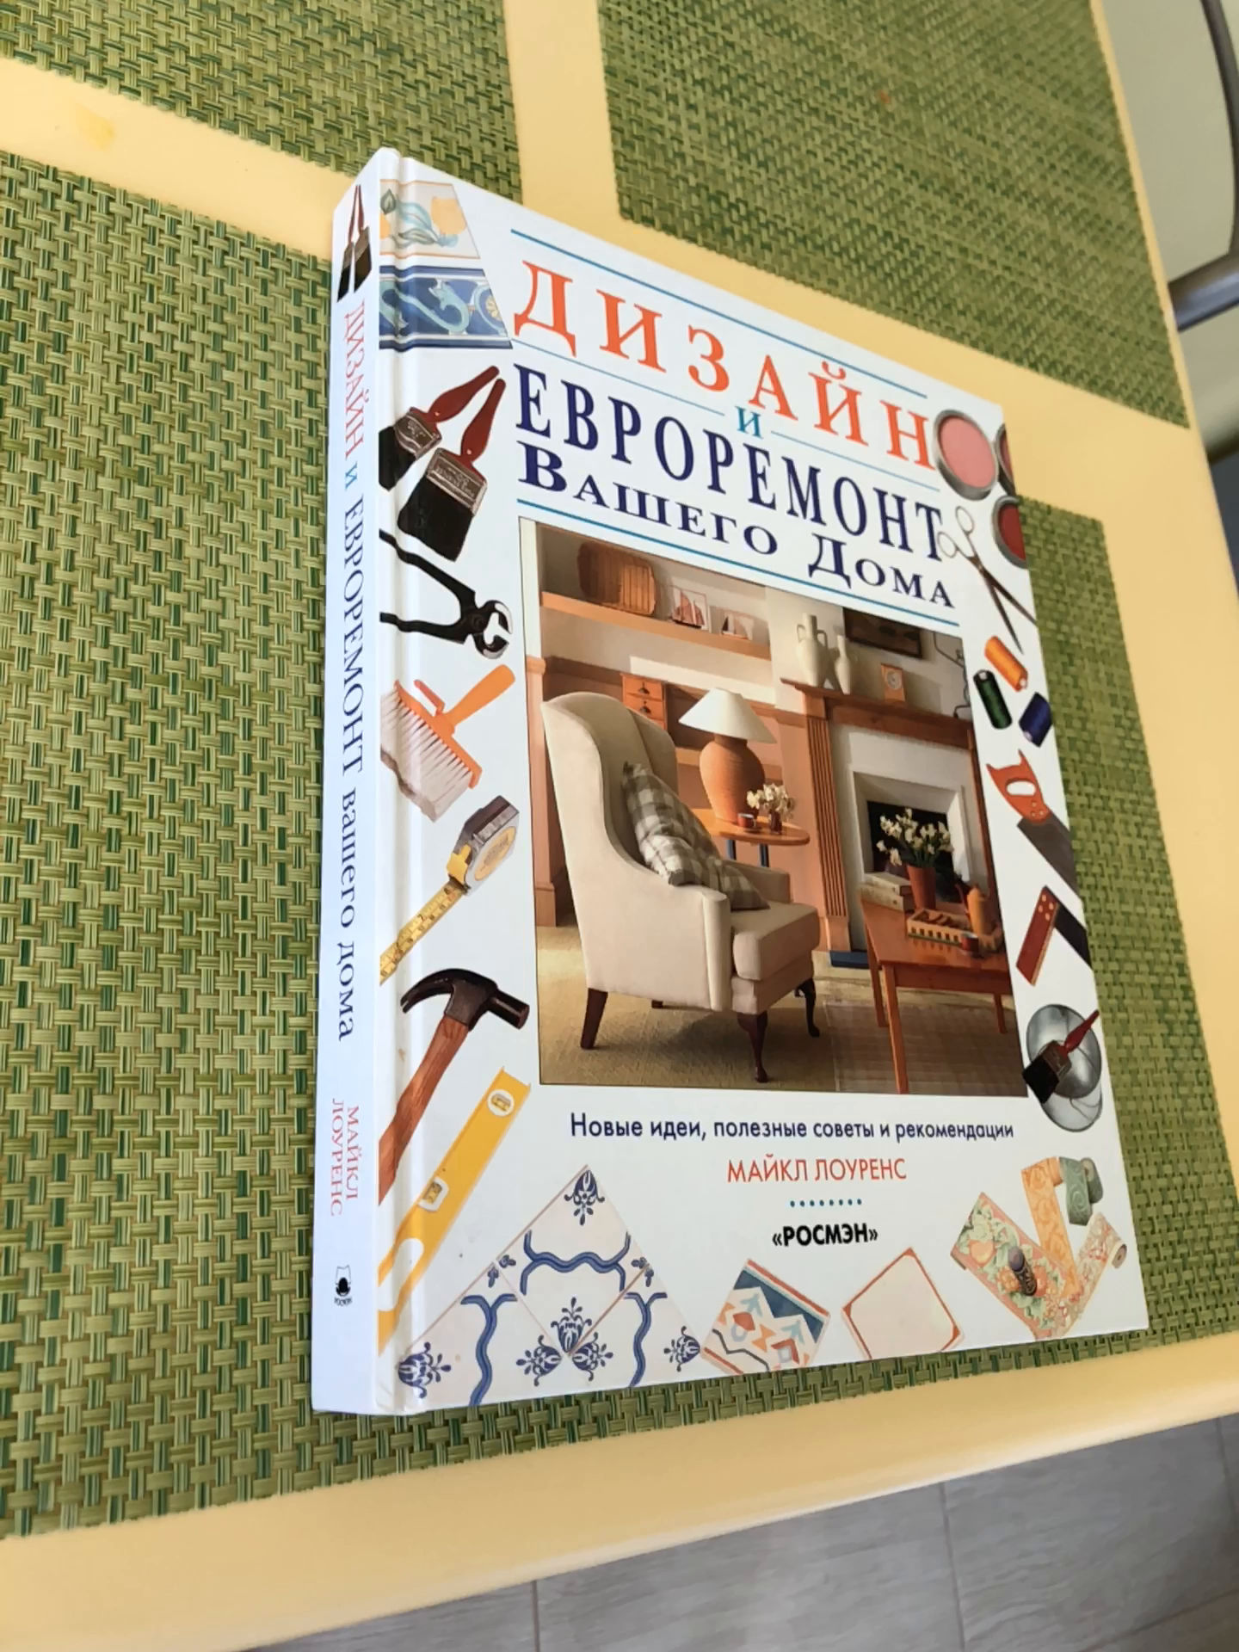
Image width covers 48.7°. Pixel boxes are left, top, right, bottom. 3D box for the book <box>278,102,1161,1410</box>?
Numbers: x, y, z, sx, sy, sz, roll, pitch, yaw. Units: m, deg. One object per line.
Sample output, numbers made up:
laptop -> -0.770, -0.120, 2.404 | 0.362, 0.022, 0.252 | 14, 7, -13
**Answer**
book -> 0.030, -0.014, 0.341 | 0.213, 0.038, 0.276 | 10, 67, -33
